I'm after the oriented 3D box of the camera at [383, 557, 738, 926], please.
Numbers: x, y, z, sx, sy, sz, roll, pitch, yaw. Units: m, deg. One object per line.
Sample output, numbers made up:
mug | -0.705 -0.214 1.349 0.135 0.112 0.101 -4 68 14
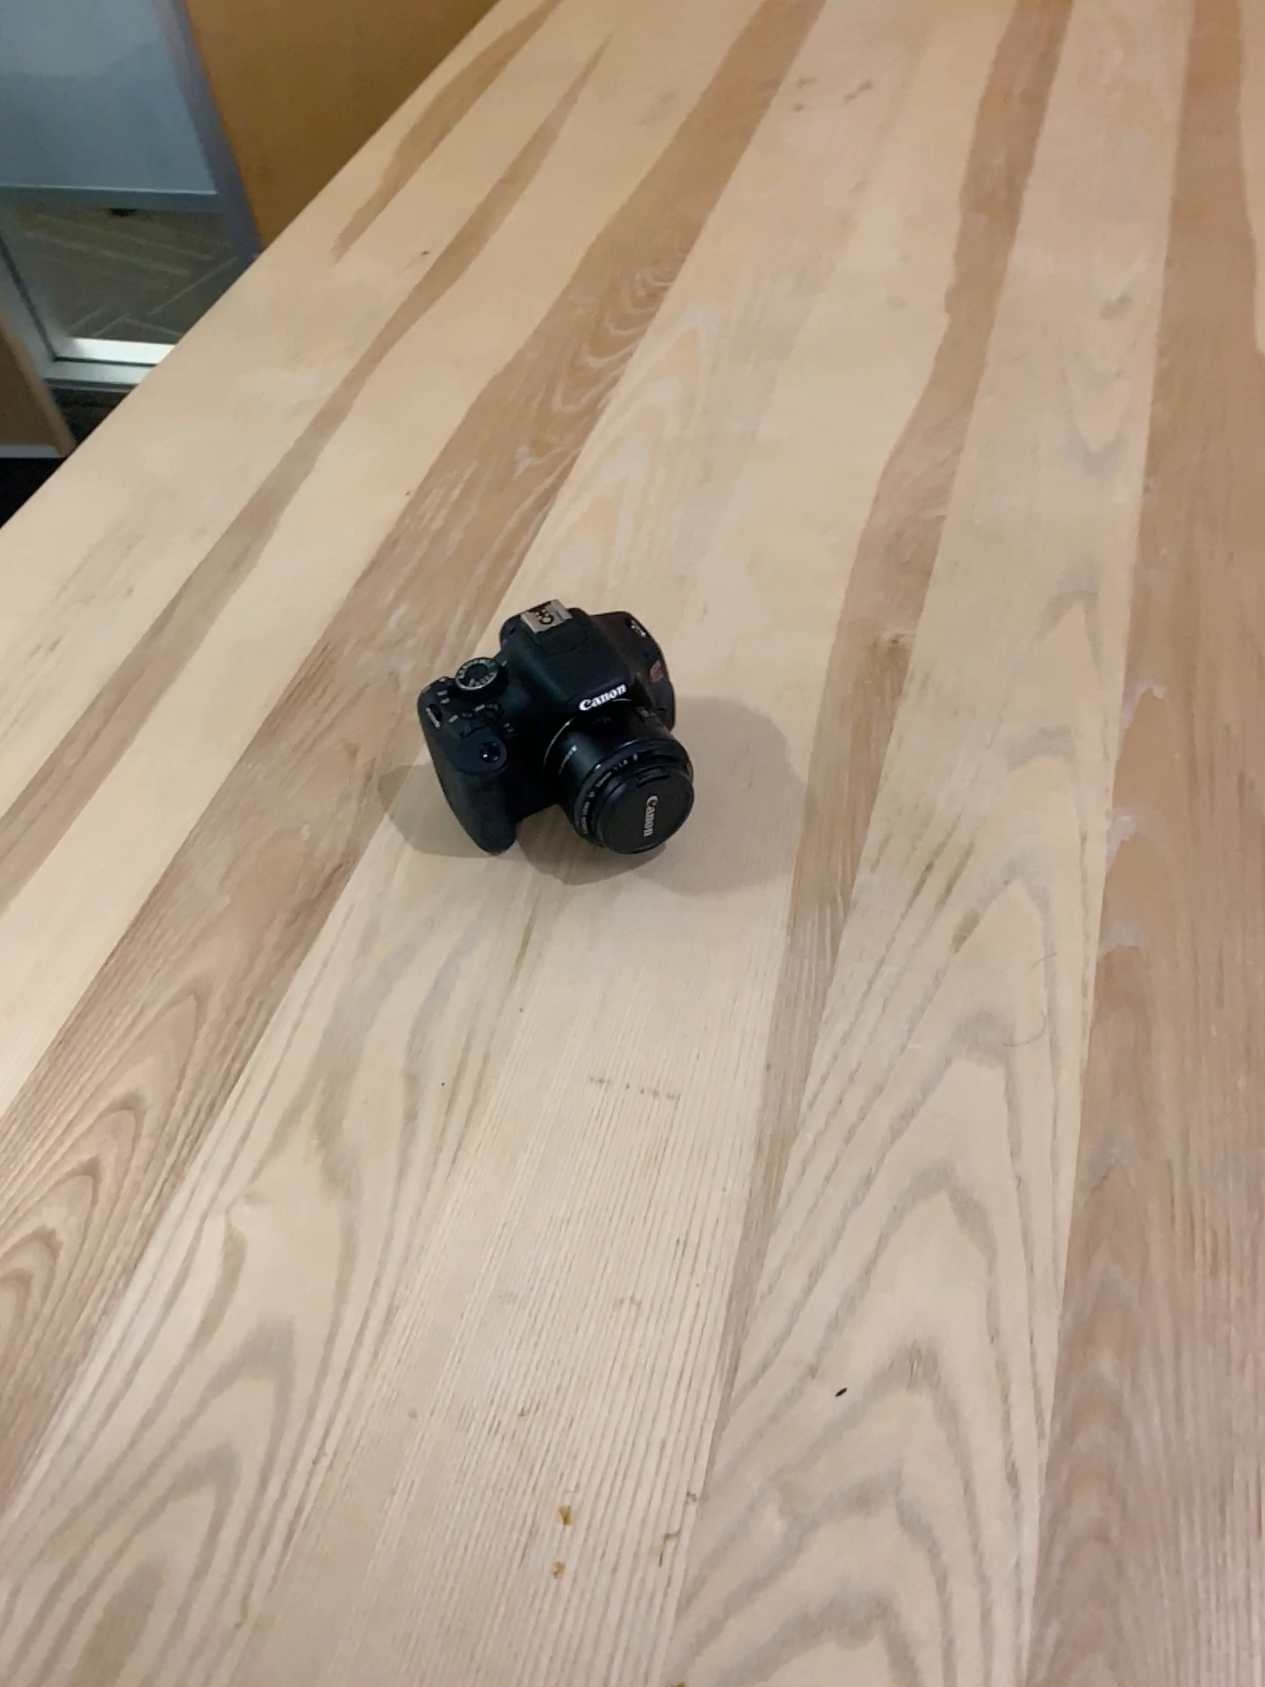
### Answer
camera | -0.036 -0.055 0.663 0.127 0.089 0.127 -26 51 -14
